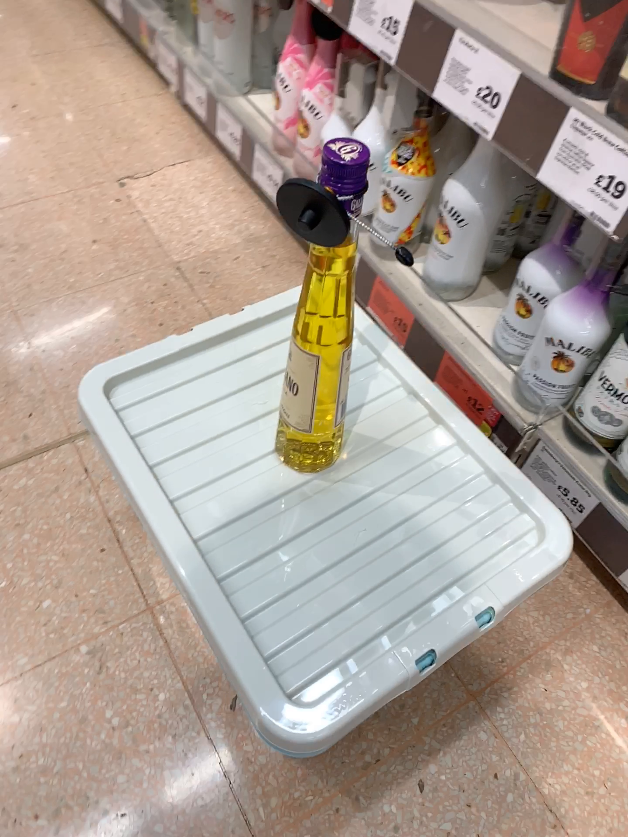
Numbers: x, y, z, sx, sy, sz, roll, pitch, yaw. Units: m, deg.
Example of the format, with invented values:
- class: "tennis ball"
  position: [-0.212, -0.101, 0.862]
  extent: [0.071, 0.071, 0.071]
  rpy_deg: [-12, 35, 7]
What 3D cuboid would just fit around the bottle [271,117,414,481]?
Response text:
- class: "bottle"
  position: [0.008, -0.072, 0.552]
  extent: [0.070, 0.347, 0.073]
  rpy_deg: [3, 53, -4]
